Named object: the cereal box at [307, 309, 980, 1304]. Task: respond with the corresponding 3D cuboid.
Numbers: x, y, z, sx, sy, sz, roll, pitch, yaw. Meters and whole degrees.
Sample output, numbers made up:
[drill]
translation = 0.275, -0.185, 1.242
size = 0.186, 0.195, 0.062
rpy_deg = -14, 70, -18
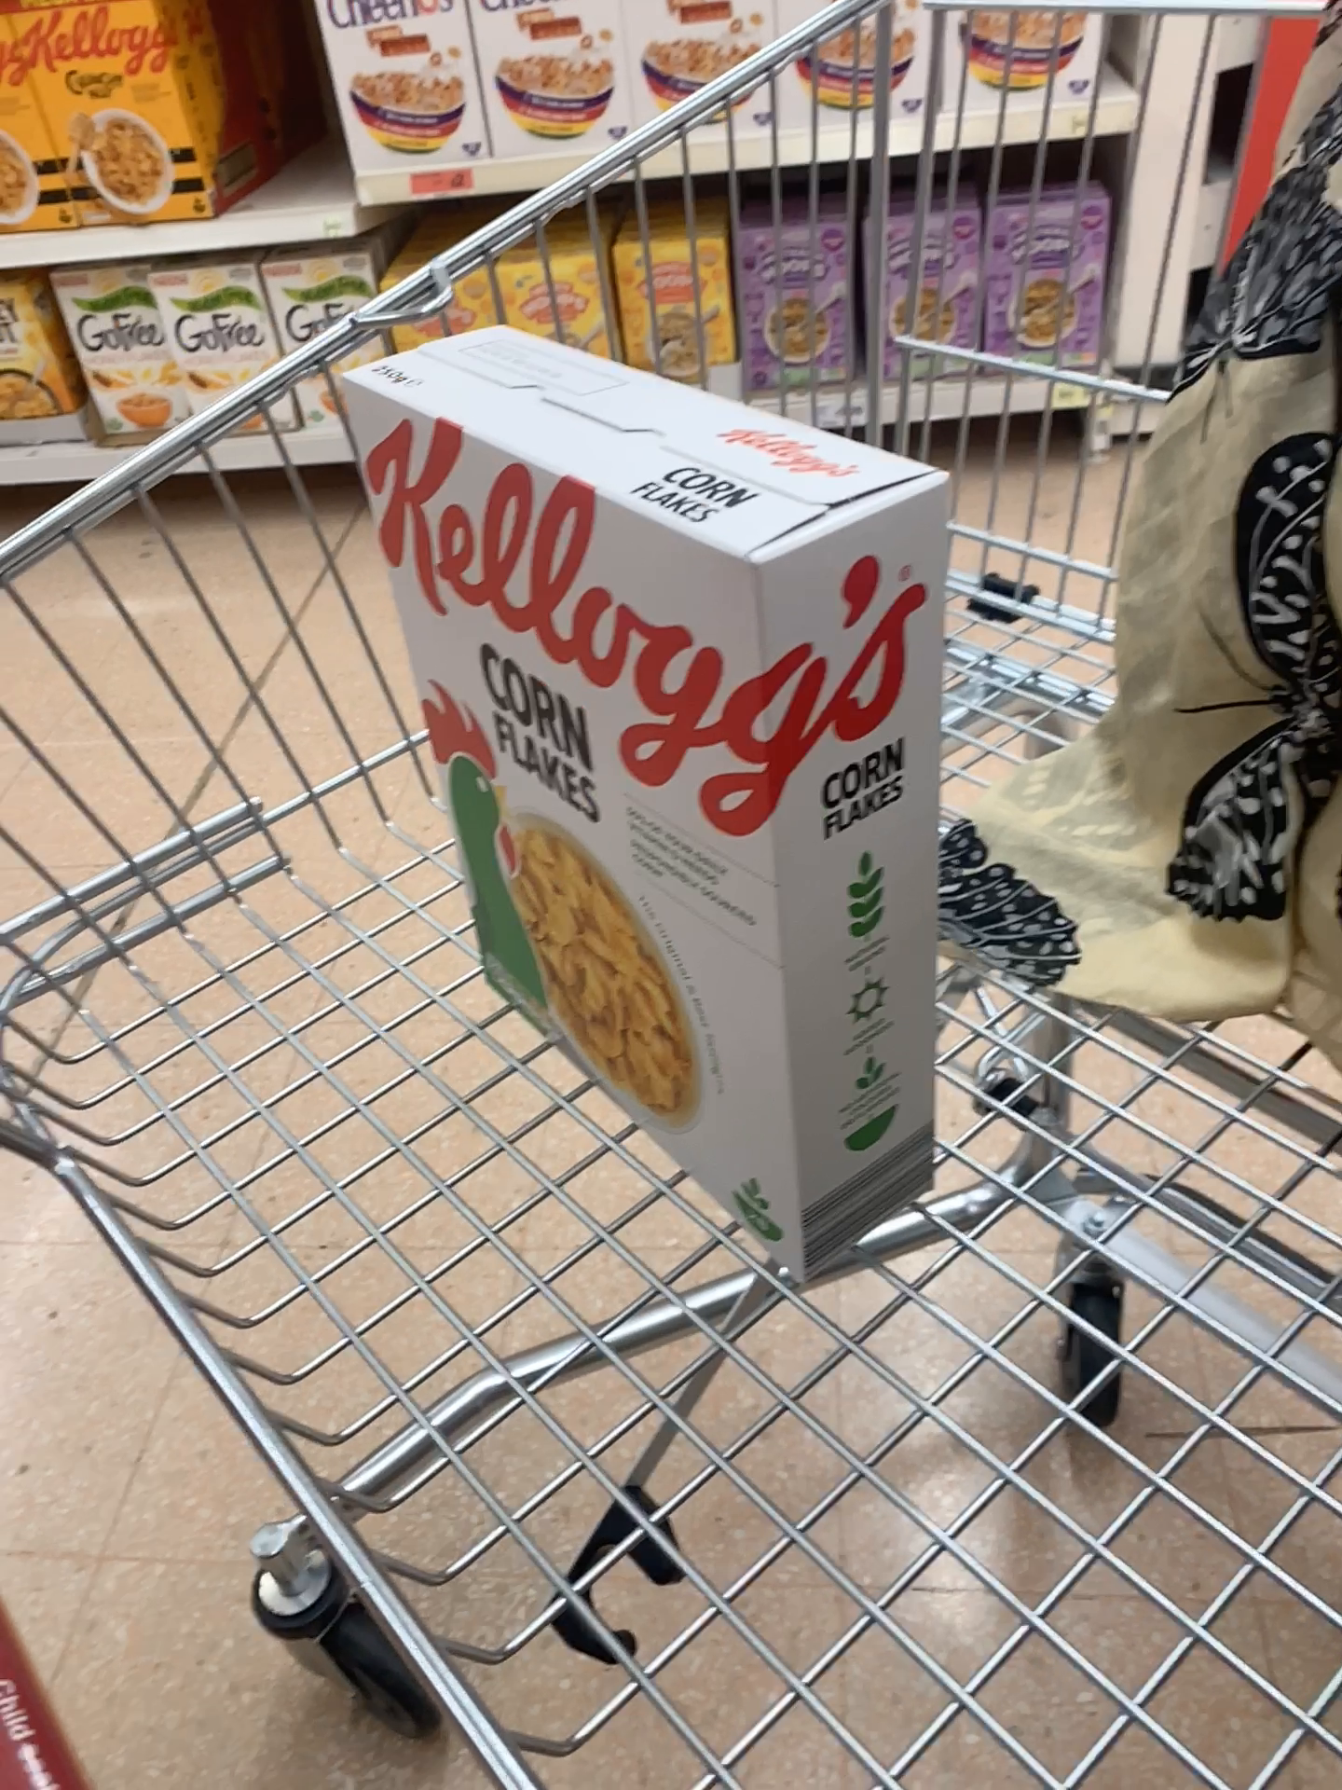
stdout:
[cereal box]
translation = -0.007, -0.028, 0.418
size = 0.060, 0.238, 0.201
rpy_deg = -30, 44, -25
